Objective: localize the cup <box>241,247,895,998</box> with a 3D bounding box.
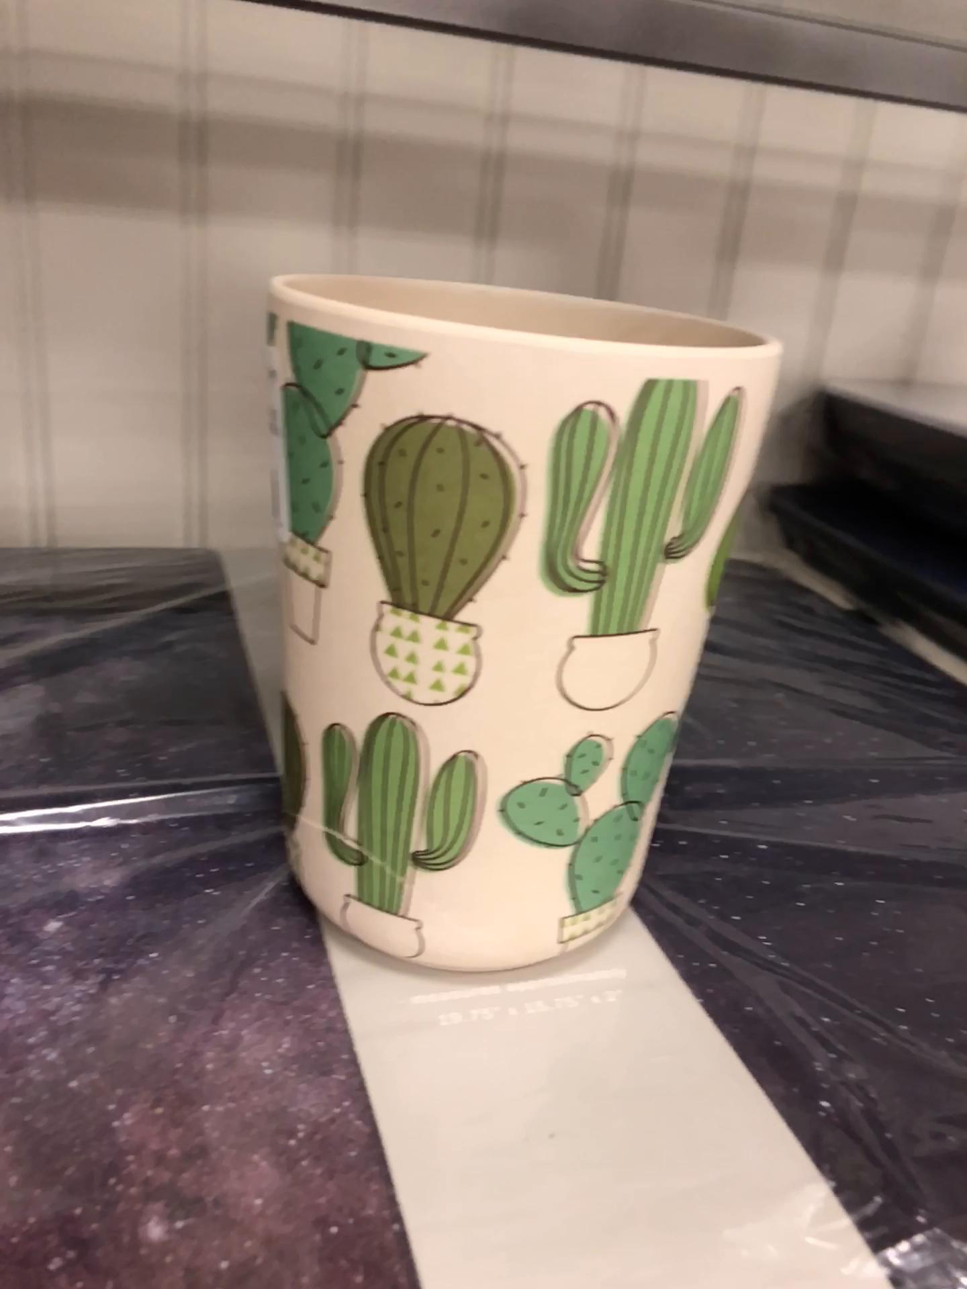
[{"bbox_3d":[0.007,-0.009,0.232,0.100,0.129,0.091,4,23,-4],"label":"cup"}]
